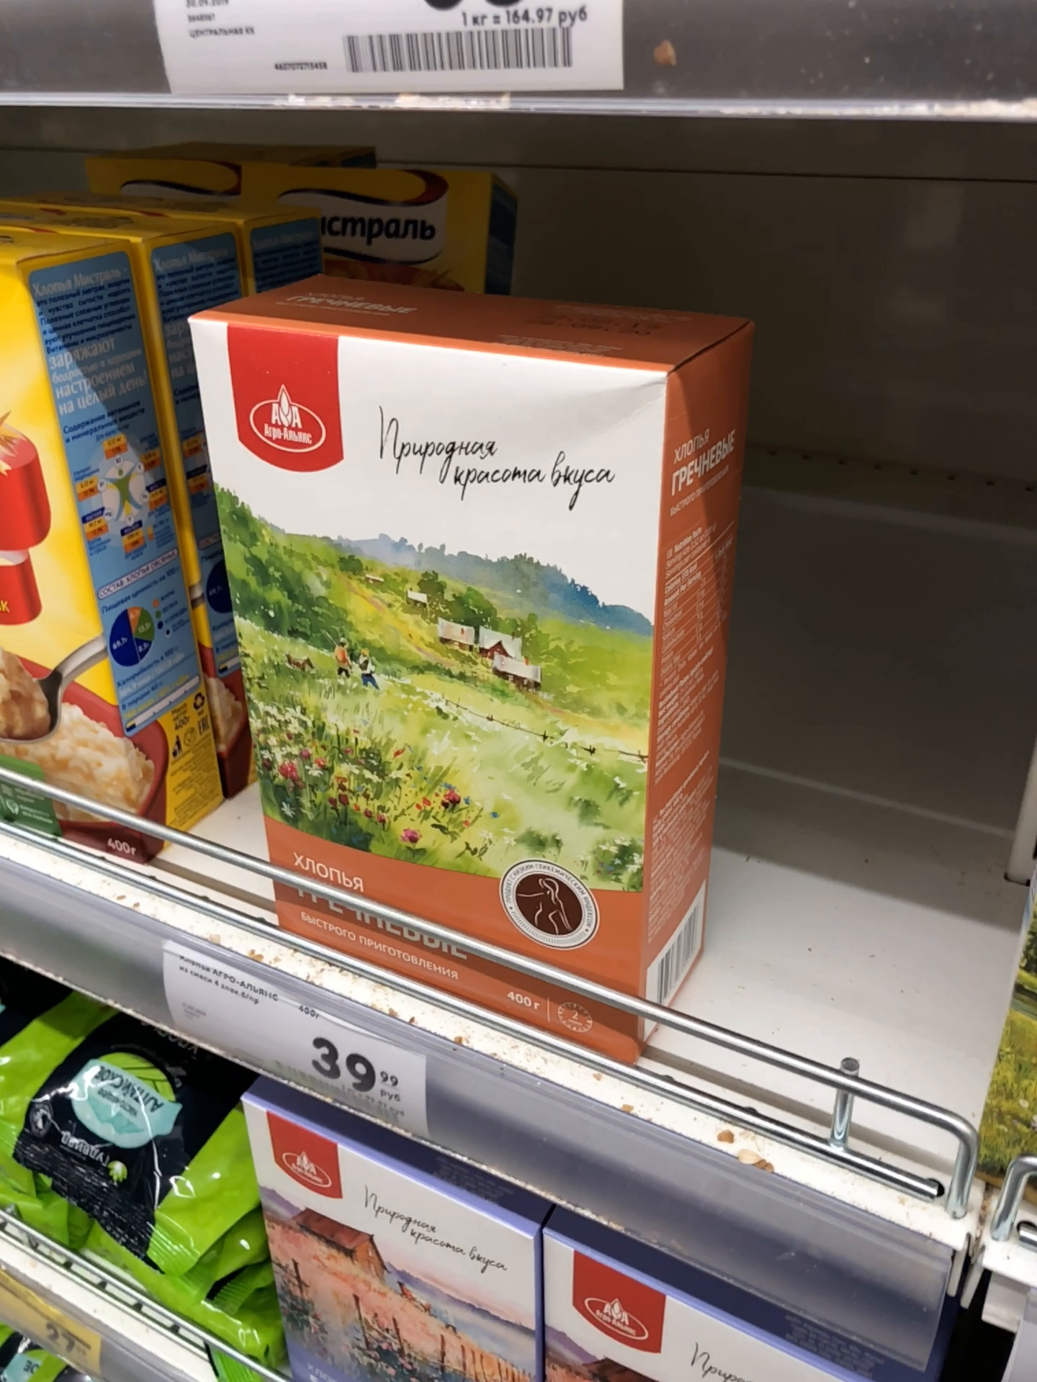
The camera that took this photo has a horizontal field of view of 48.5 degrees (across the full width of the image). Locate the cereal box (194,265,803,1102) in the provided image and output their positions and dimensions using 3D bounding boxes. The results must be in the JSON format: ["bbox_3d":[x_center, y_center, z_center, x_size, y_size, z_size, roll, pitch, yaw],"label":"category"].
[{"bbox_3d":[-0.006,-0.003,0.317,0.130,0.199,0.060,15,32,25],"label":"cereal box"}]
